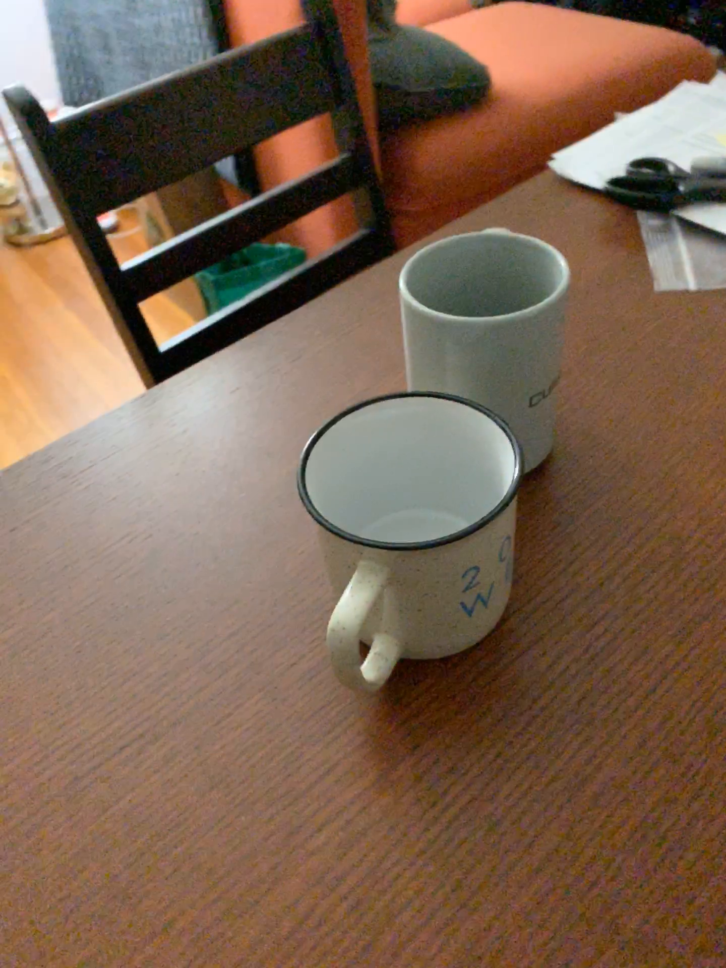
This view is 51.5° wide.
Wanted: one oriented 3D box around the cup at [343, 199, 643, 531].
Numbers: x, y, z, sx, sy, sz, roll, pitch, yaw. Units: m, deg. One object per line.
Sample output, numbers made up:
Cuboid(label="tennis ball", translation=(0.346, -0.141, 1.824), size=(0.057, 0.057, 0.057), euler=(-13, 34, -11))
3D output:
Cuboid(label="cup", translation=(0.075, -0.071, 0.415), size=(0.100, 0.099, 0.140), euler=(20, 52, 26))

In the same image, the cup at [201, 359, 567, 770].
Cuboid(label="cup", translation=(0.017, 0.031, 0.348), size=(0.100, 0.099, 0.130), euler=(20, 52, 26))
